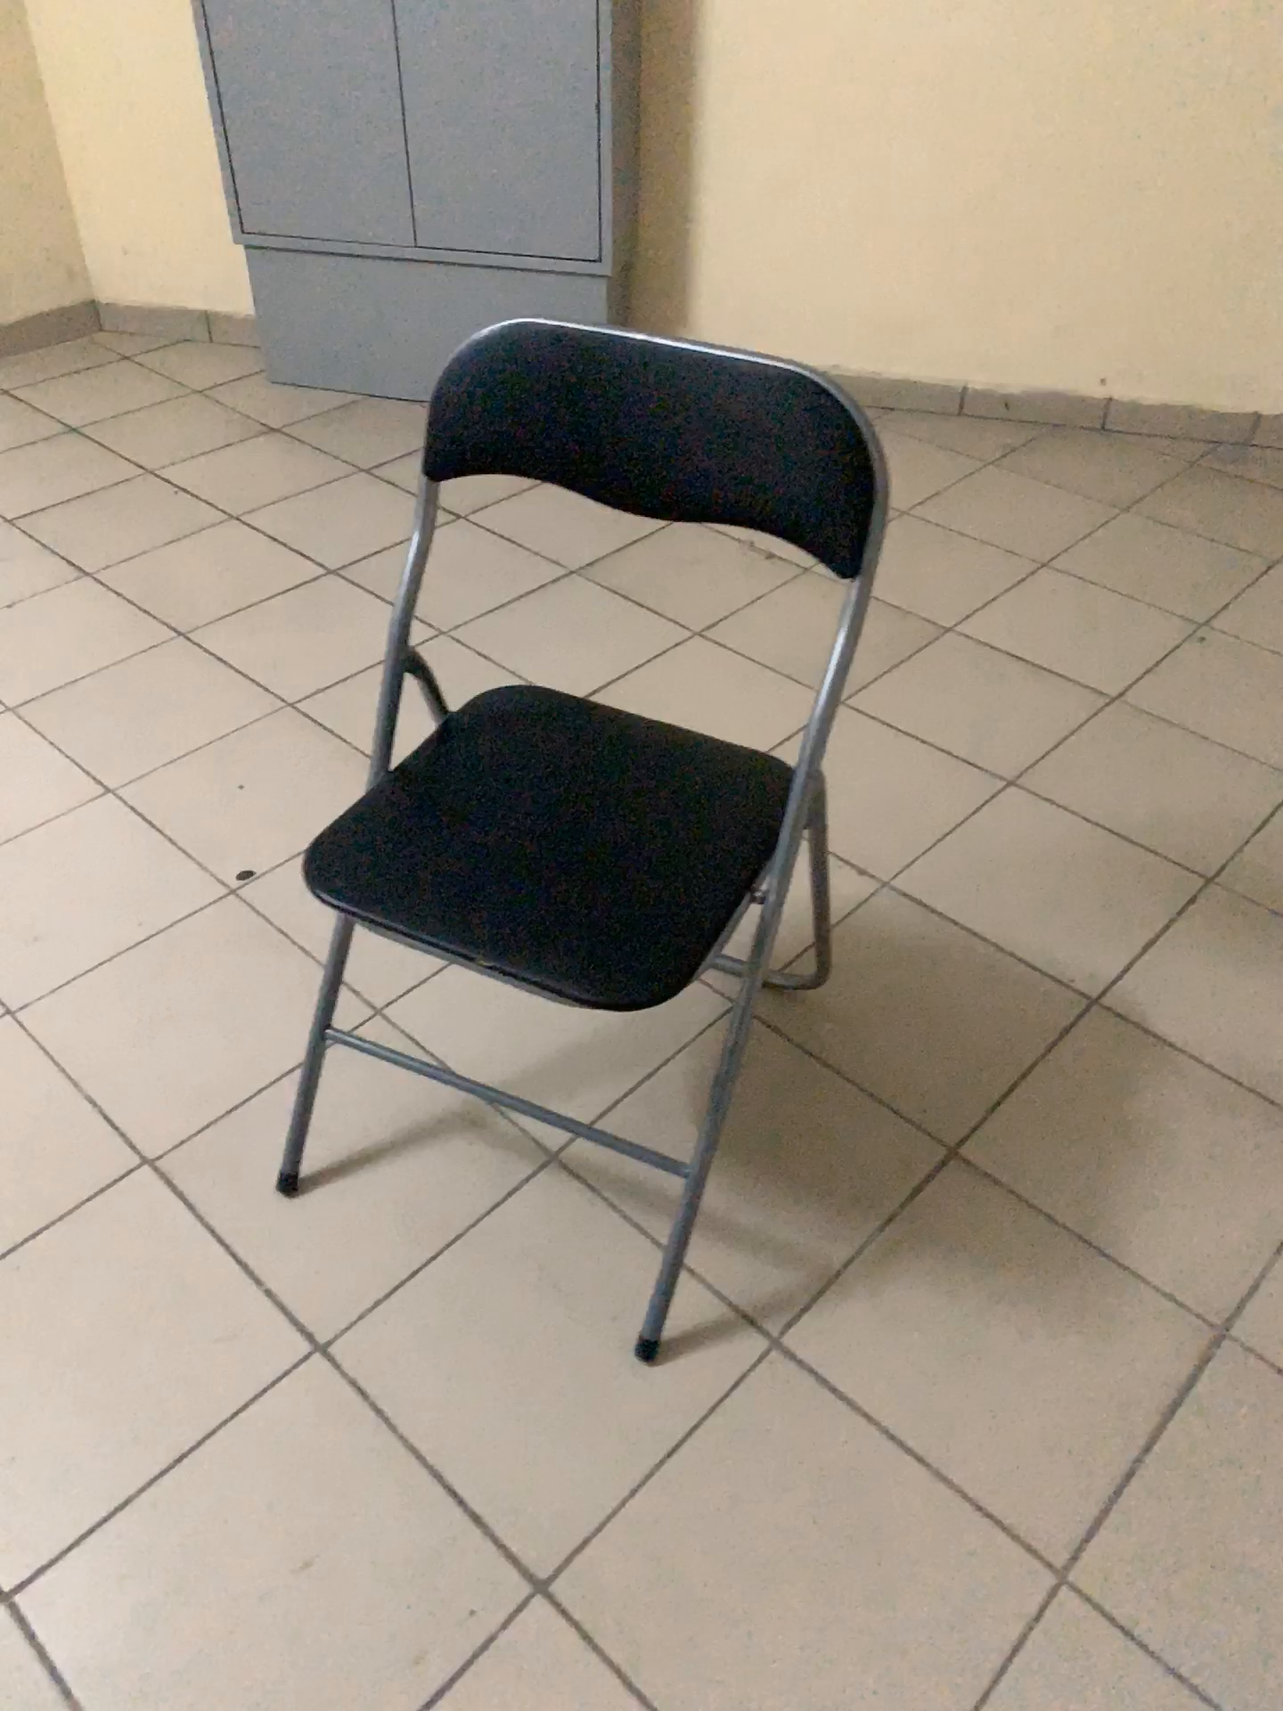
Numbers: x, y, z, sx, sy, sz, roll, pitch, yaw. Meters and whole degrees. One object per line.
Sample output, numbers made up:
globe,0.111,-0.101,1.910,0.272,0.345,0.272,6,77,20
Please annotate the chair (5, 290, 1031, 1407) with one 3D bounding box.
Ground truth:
chair,-0.057,-0.032,1.218,0.571,0.726,0.562,17,43,20
